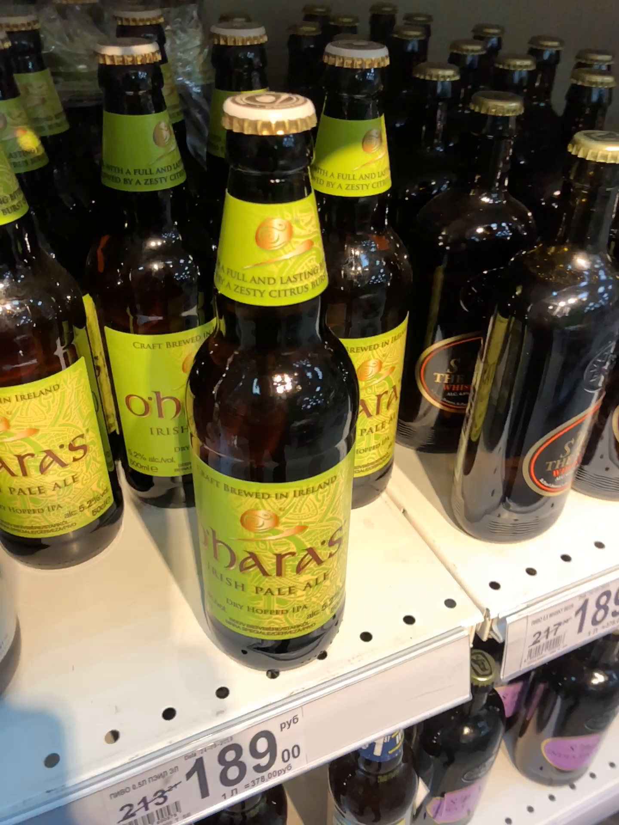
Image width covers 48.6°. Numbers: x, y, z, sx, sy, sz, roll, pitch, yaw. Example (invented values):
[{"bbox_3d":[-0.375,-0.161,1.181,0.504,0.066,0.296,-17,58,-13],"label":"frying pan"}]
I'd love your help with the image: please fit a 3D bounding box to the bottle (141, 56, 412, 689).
[{"bbox_3d":[-0.008,0.003,0.276,0.070,0.250,0.070,1,35,-1],"label":"bottle"}]
